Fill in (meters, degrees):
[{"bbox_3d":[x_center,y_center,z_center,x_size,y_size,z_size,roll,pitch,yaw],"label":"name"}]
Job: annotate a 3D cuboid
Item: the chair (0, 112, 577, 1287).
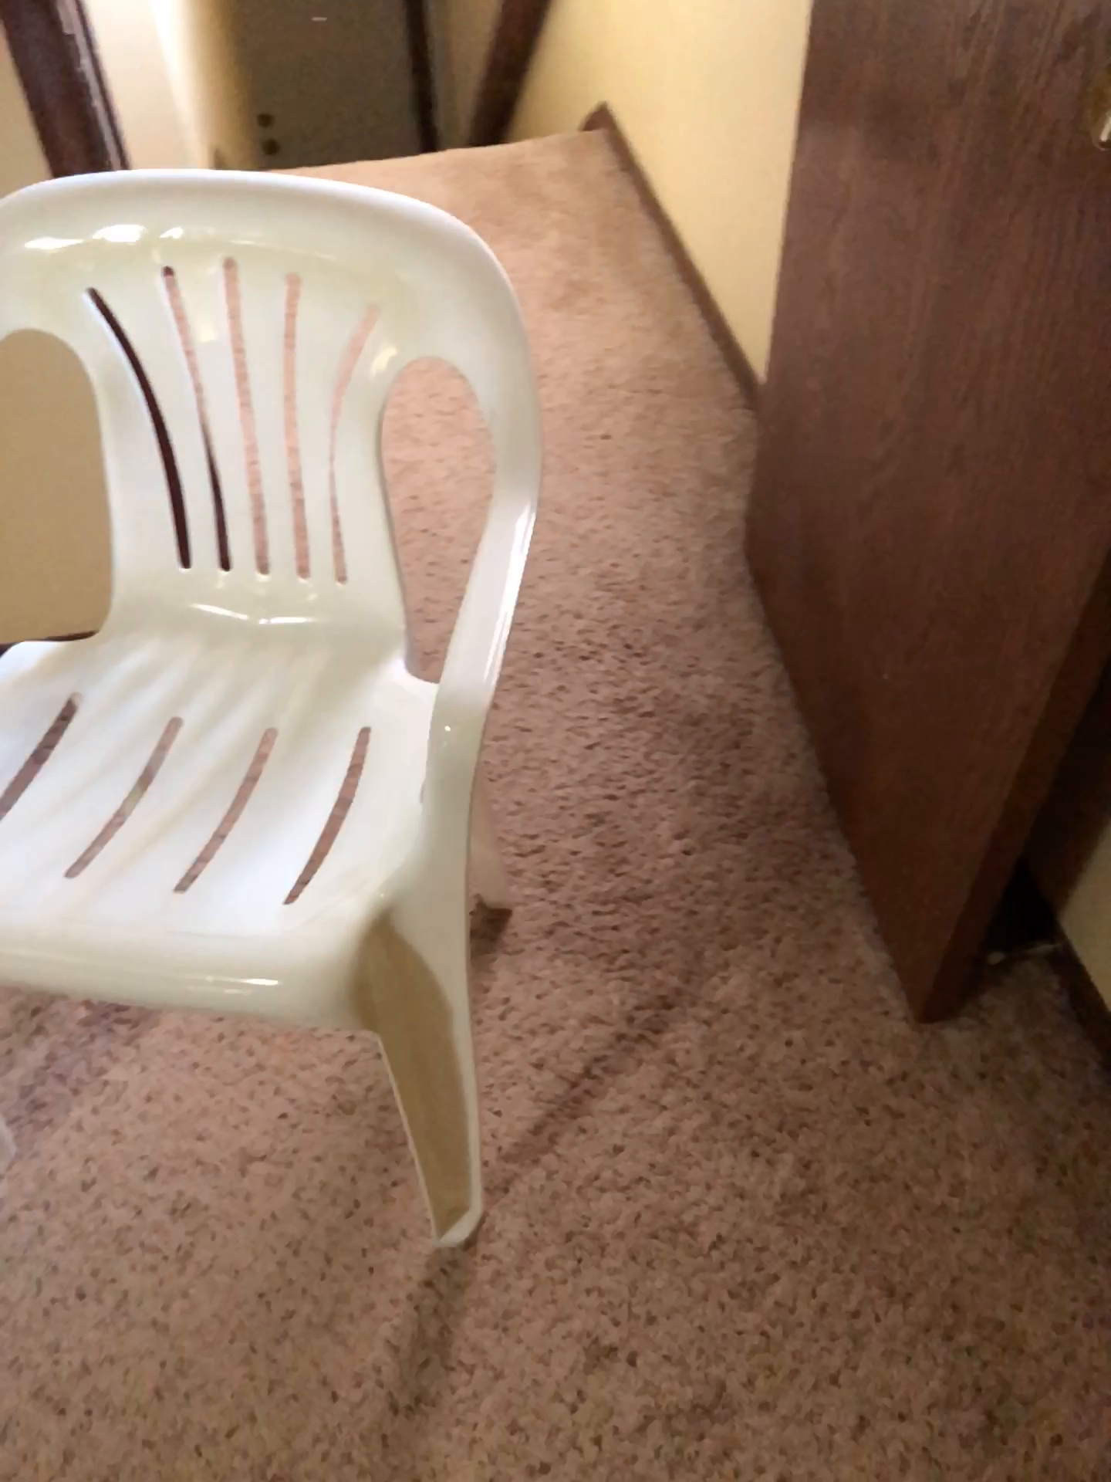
[{"bbox_3d":[-0.311,0.015,0.965,0.580,0.769,0.471,6,49,7],"label":"chair"}]
